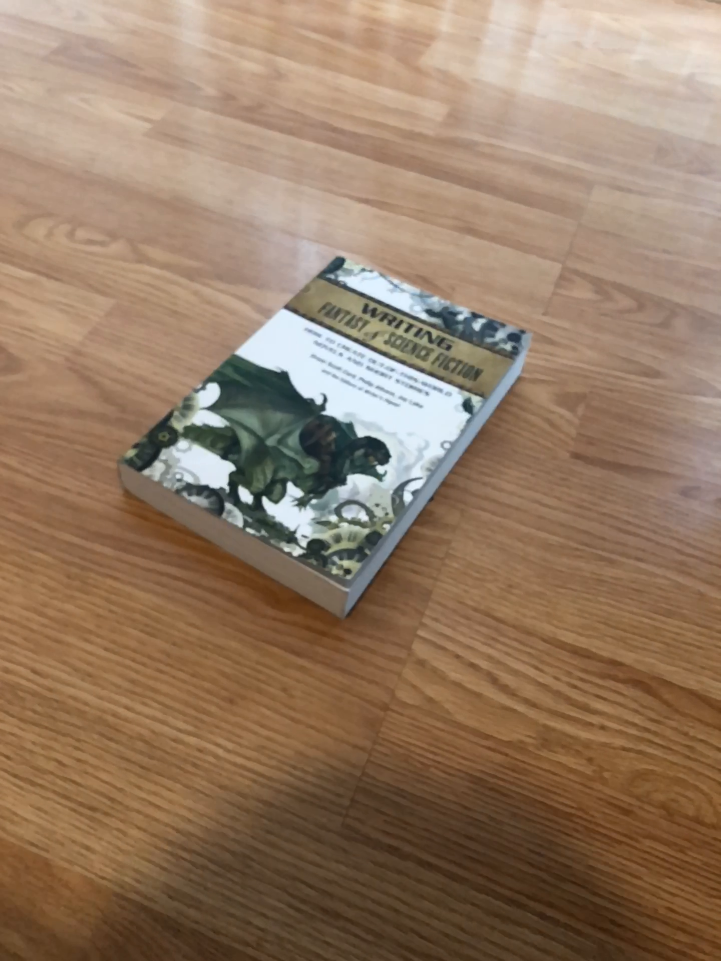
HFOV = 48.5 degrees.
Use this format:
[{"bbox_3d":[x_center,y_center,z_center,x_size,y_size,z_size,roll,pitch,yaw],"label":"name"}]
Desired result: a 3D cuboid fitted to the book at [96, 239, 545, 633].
[{"bbox_3d":[-0.013,-0.044,0.483,0.165,0.040,0.229,28,54,15],"label":"book"}]
